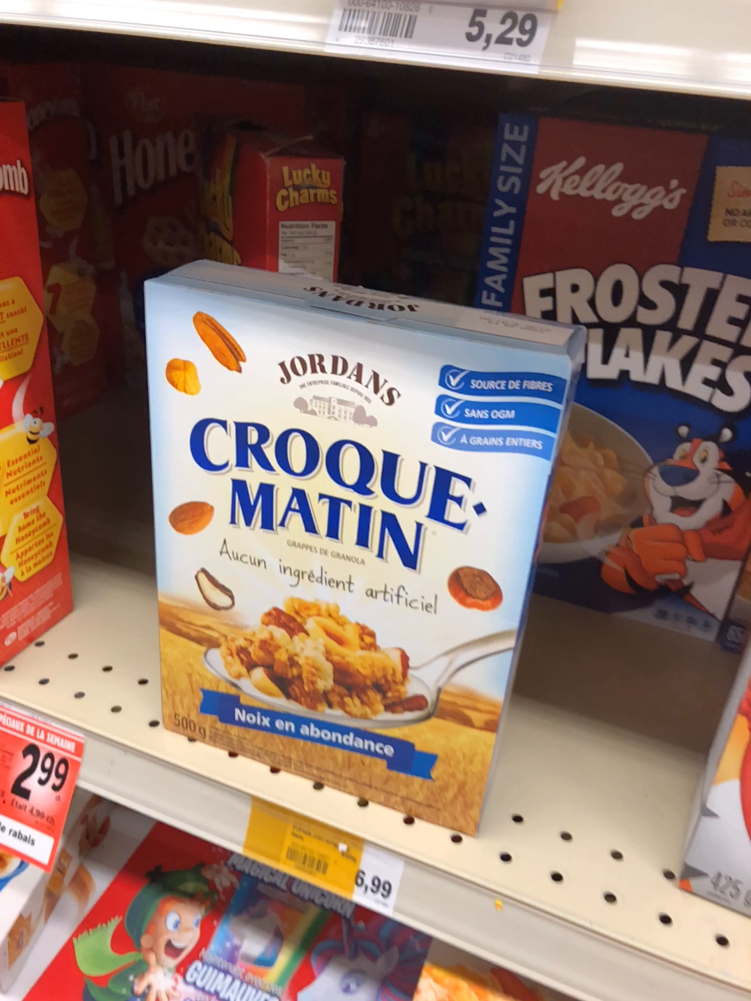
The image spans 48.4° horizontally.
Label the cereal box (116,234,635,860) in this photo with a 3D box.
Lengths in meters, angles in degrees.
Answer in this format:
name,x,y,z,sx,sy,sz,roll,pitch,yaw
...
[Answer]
name,x,y,z,sx,sy,sz,roll,pitch,yaw
cereal box,-0.012,0.027,0.391,0.200,0.258,0.050,14,30,15
